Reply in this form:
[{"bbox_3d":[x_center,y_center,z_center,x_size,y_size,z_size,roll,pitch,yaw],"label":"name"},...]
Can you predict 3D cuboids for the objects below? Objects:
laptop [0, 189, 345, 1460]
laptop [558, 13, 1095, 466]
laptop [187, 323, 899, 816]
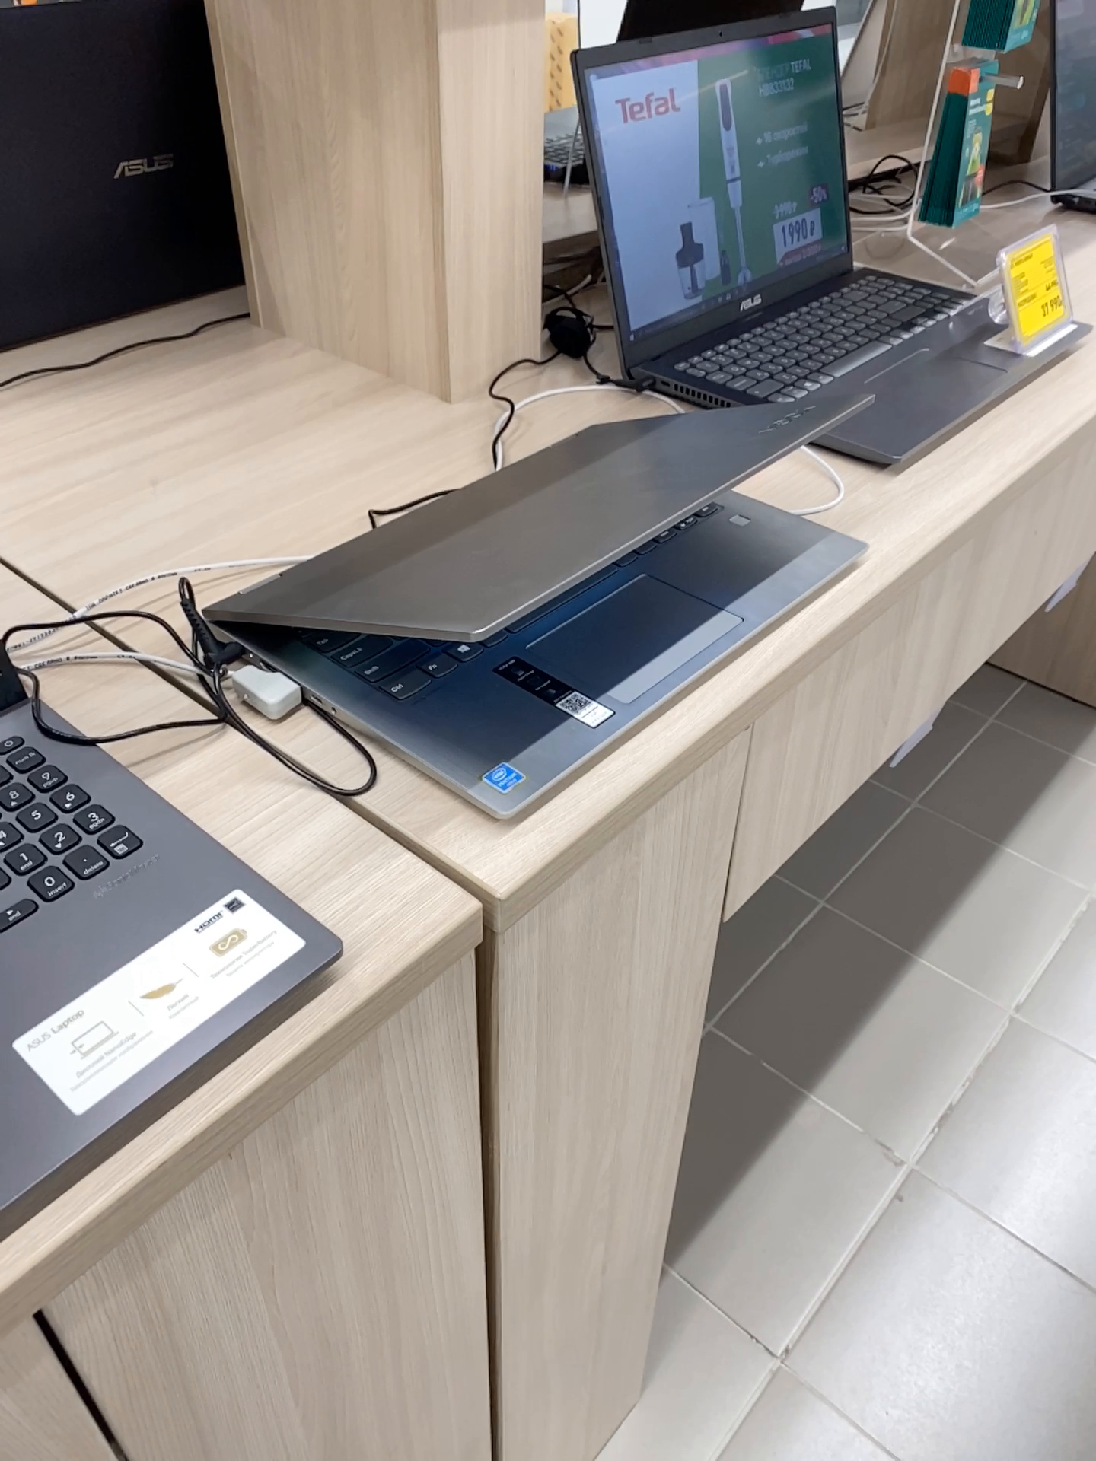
[{"bbox_3d":[-0.304,0.011,0.329,0.308,0.212,0.353,30,46,31],"label":"laptop"},{"bbox_3d":[0.254,-0.422,0.903,0.303,0.215,0.390,28,45,28],"label":"laptop"},{"bbox_3d":[0.010,-0.117,0.619,0.218,0.082,0.326,31,47,30],"label":"laptop"}]
